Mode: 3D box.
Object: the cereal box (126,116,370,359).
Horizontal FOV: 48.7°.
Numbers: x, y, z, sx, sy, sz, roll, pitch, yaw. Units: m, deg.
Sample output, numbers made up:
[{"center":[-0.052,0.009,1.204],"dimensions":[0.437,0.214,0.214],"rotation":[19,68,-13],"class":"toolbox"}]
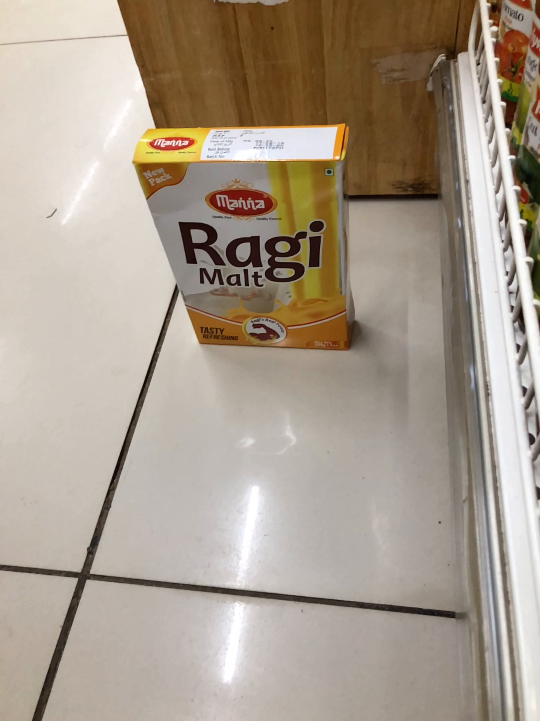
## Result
[{"center":[-0.002,-0.077,0.425],"dimensions":[0.140,0.179,0.040],"rotation":[4,52,13],"class":"cereal box"}]
